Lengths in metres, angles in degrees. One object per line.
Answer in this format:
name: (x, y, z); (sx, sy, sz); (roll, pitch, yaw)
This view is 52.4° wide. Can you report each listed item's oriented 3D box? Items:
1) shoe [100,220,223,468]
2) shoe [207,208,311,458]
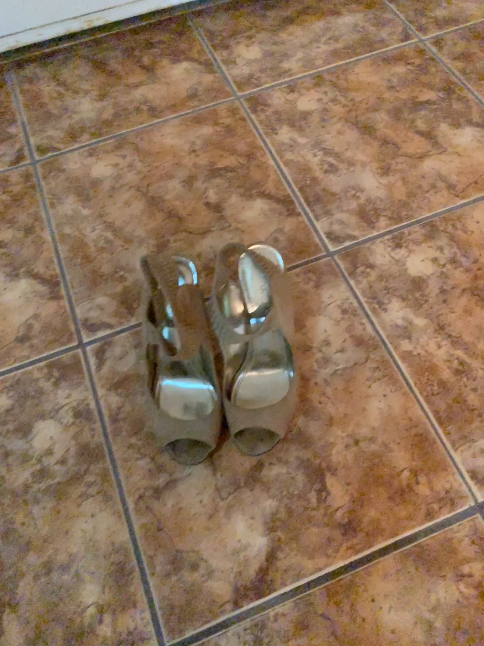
shoe: (-0.068, 0.024, 0.501); (0.081, 0.140, 0.210); (-1, 61, 3)
shoe: (0.018, 0.014, 0.498); (0.081, 0.150, 0.205); (-1, 61, 3)
